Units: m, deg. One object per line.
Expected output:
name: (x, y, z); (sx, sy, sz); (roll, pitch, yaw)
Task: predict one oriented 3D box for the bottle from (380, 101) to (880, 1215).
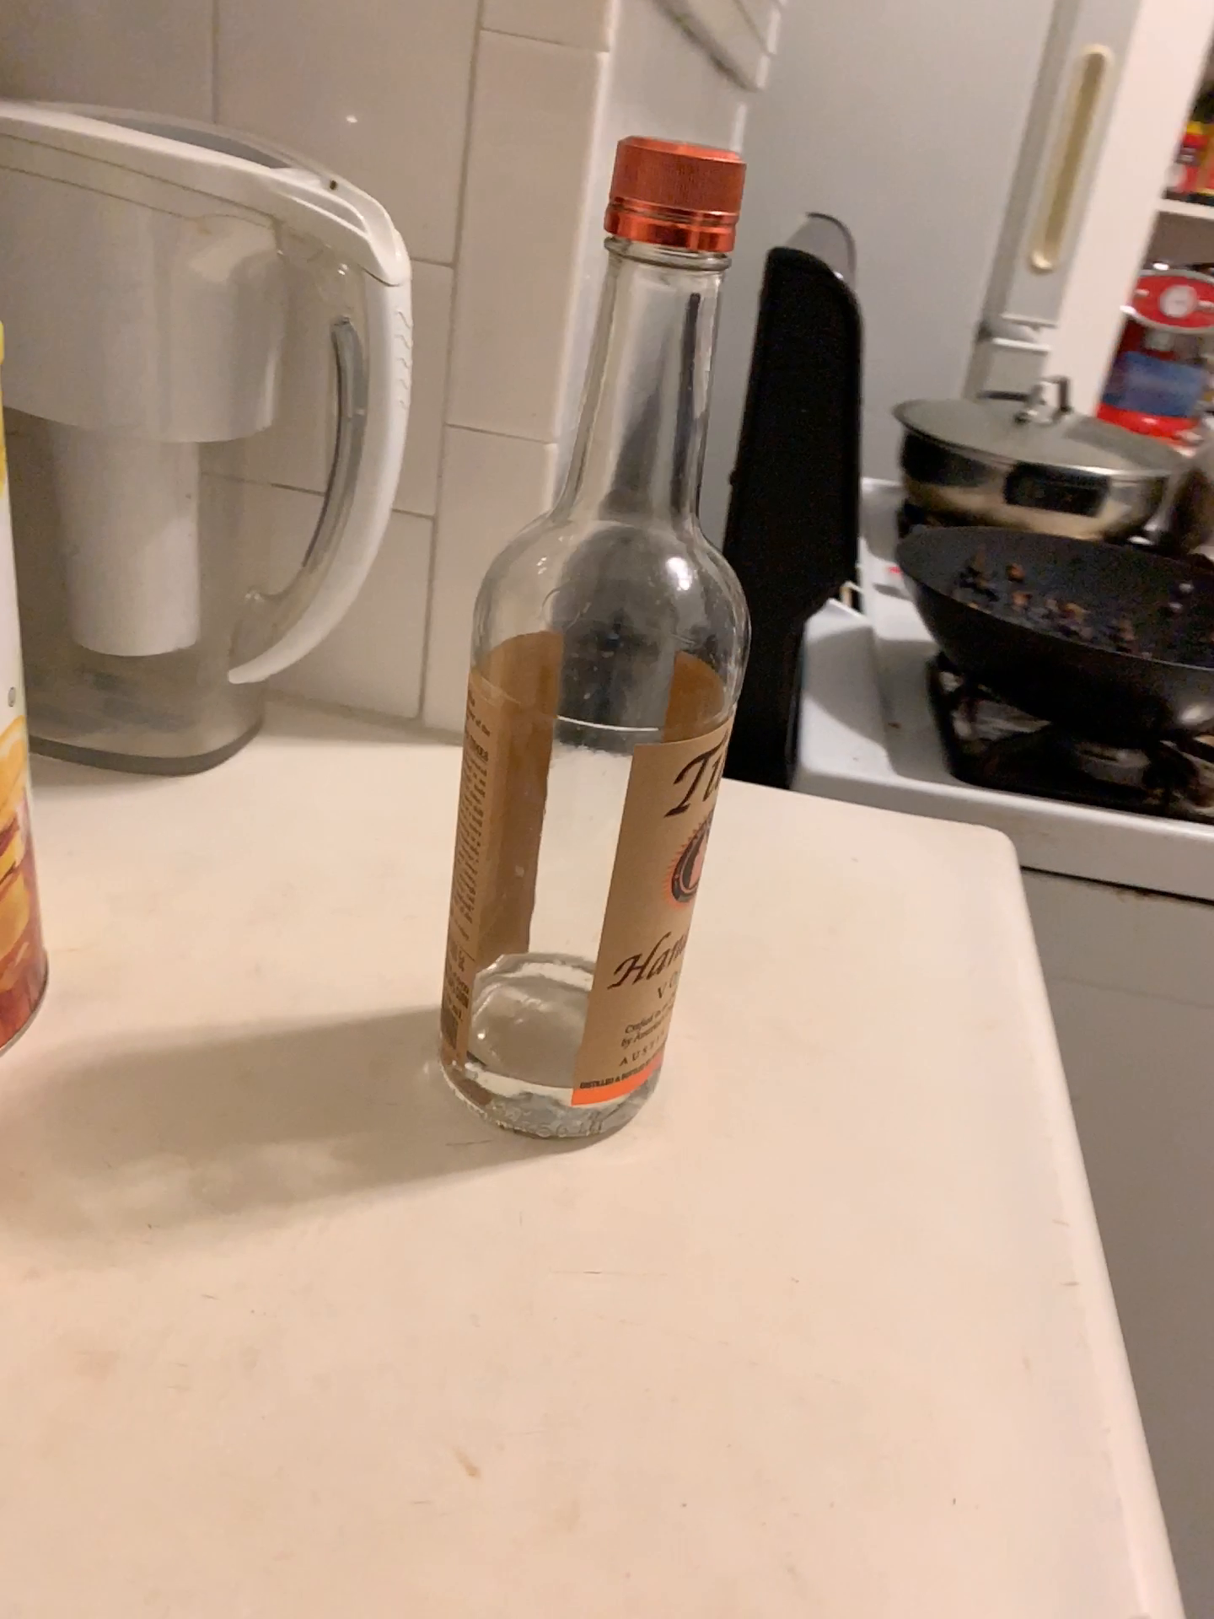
bottle: (-0.002, -0.030, 0.357); (0.080, 0.288, 0.080); (7, 28, -4)
